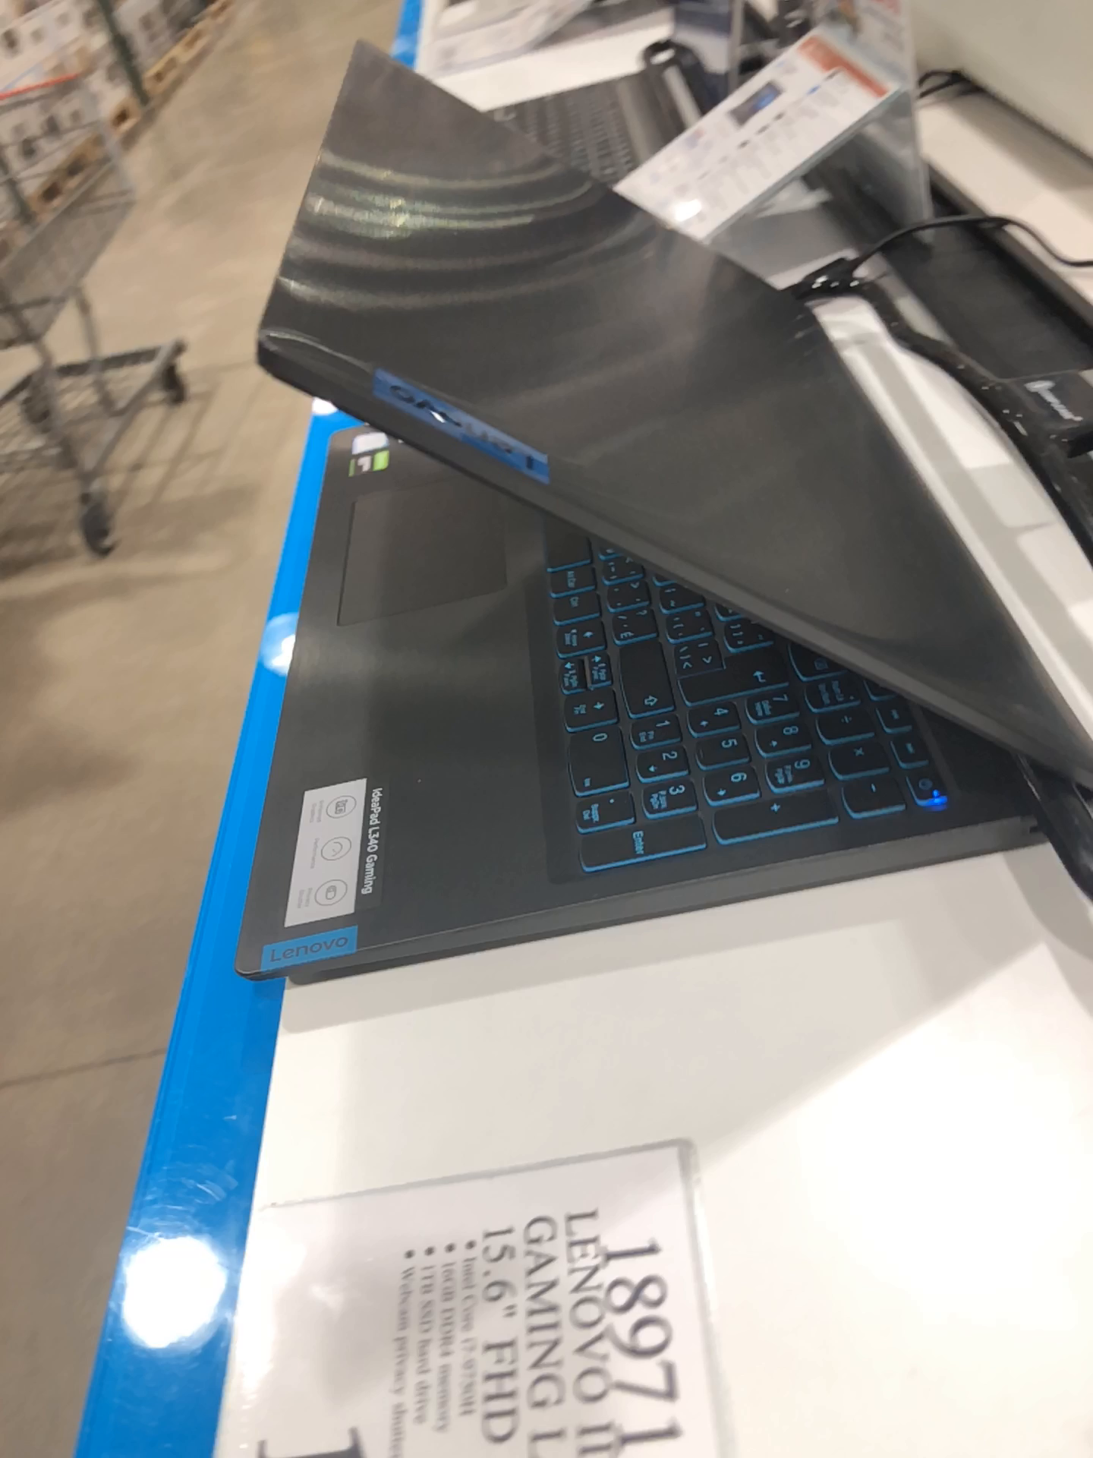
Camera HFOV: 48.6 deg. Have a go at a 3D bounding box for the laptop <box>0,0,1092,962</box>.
[{"bbox_3d":[-0.003,-0.128,0.421,0.240,0.170,0.346,-13,38,7],"label":"laptop"}]
